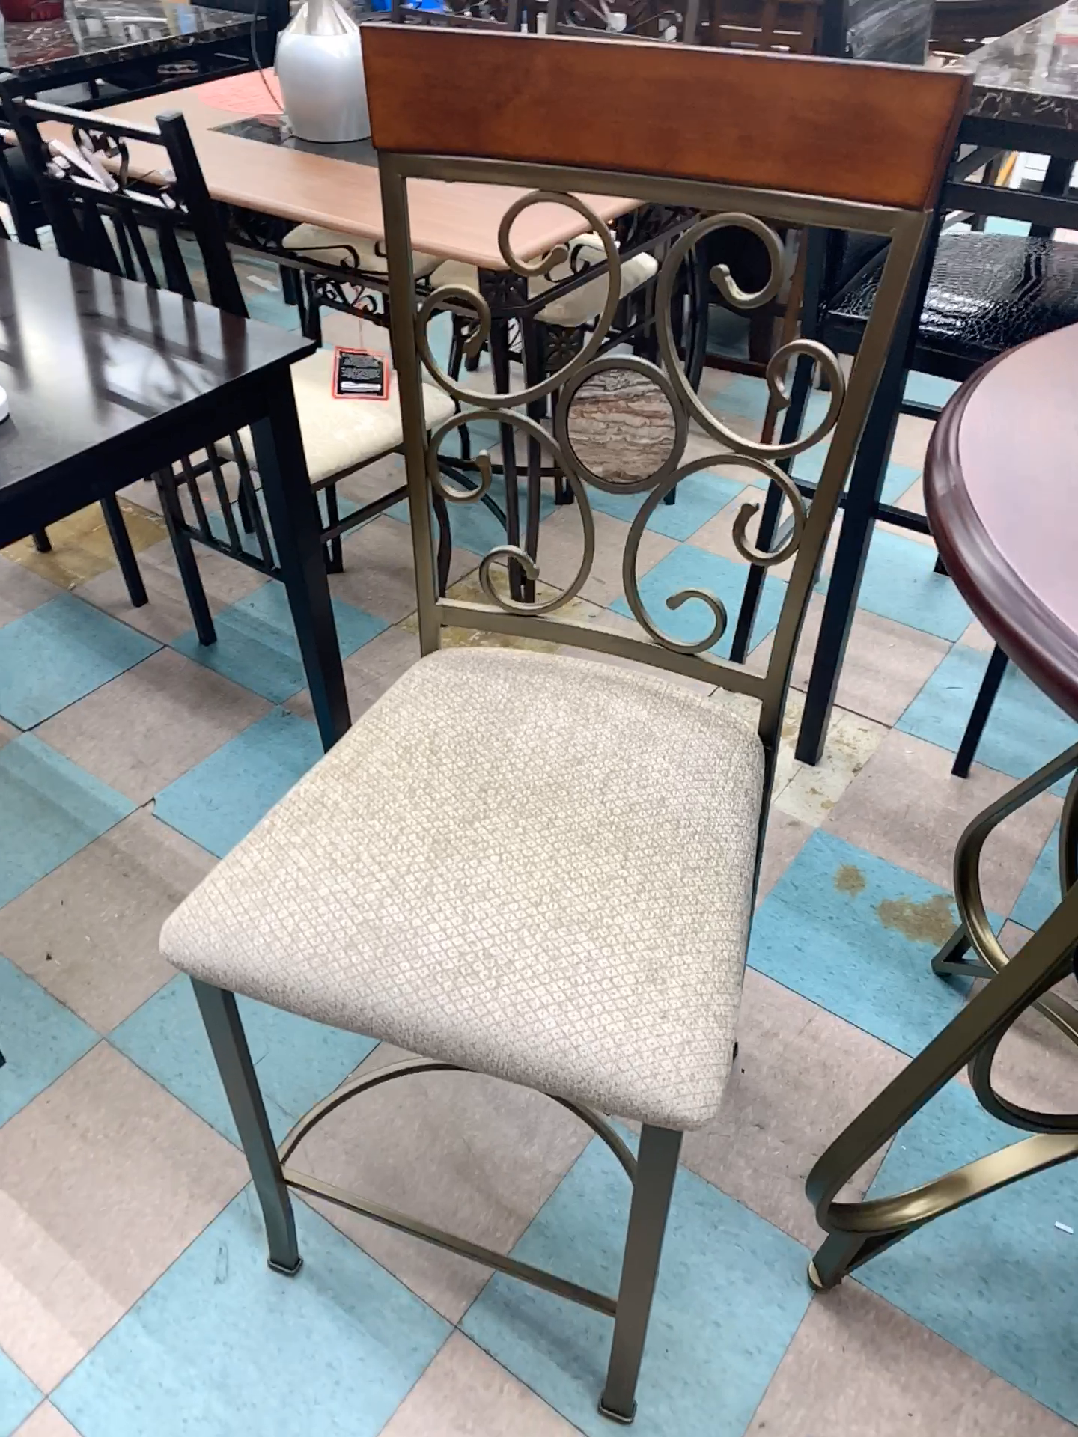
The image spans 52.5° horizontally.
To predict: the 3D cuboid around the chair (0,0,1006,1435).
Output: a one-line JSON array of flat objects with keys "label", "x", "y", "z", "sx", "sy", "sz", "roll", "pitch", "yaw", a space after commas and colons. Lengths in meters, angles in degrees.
[{"label": "chair", "x": -0.028, "y": 0.057, "z": 0.971, "sx": 0.510, "sy": 1.074, "sz": 0.563, "roll": 15, "pitch": 44, "yaw": 16}]
